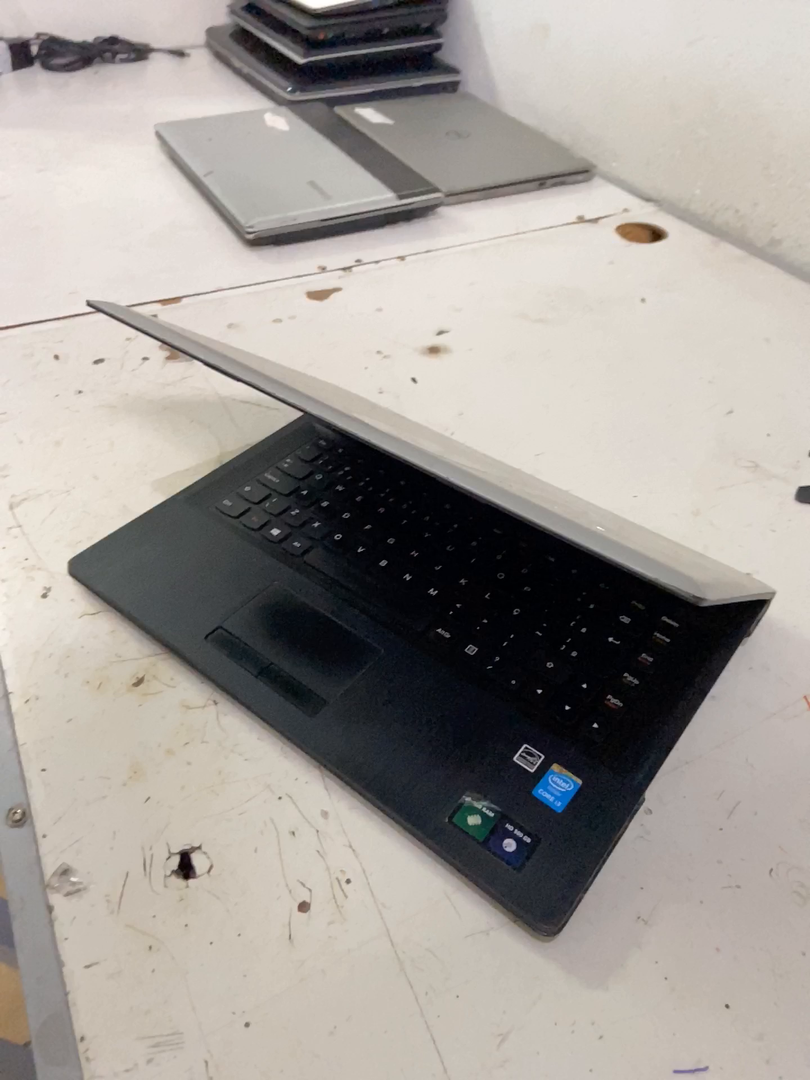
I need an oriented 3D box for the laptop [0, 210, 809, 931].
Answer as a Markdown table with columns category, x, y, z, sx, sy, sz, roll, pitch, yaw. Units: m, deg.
| category | x | y | z | sx | sy | sz | roll | pitch | yaw |
| --- | --- | --- | --- | --- | --- | --- | --- | --- | --- |
| laptop | 0.007 | -0.028 | 0.451 | 0.344 | 0.148 | 0.246 | 28 | 49 | 28 |
